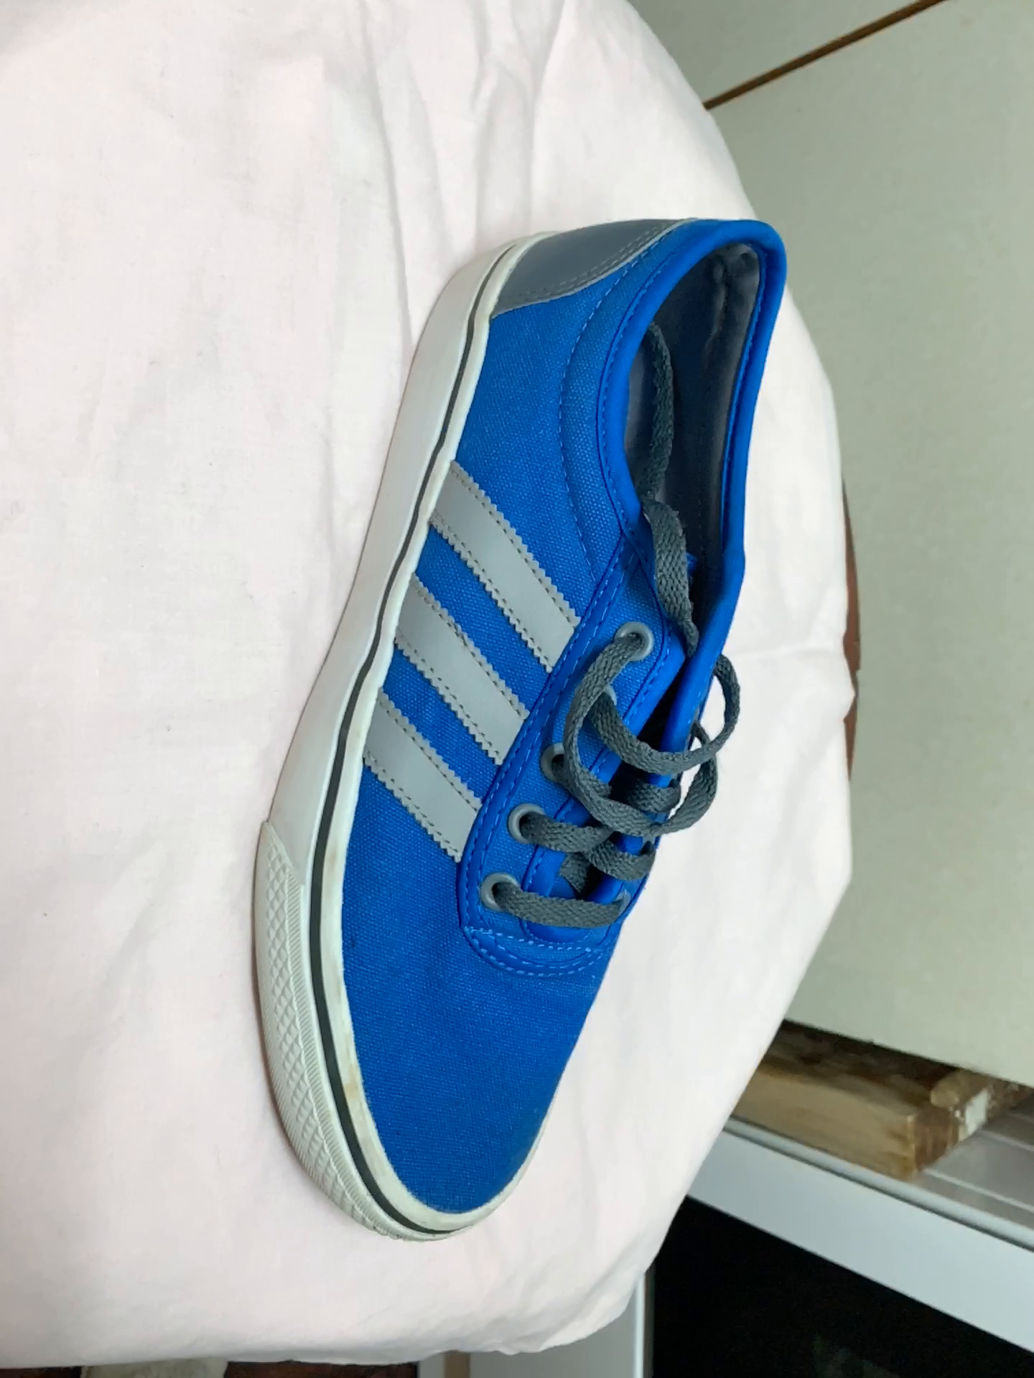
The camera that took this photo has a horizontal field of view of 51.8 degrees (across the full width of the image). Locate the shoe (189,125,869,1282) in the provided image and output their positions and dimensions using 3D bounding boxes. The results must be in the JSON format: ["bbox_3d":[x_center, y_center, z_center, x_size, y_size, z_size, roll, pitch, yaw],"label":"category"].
[{"bbox_3d":[0.009,0.004,0.275,0.101,0.089,0.234,19,78,-42],"label":"shoe"}]
